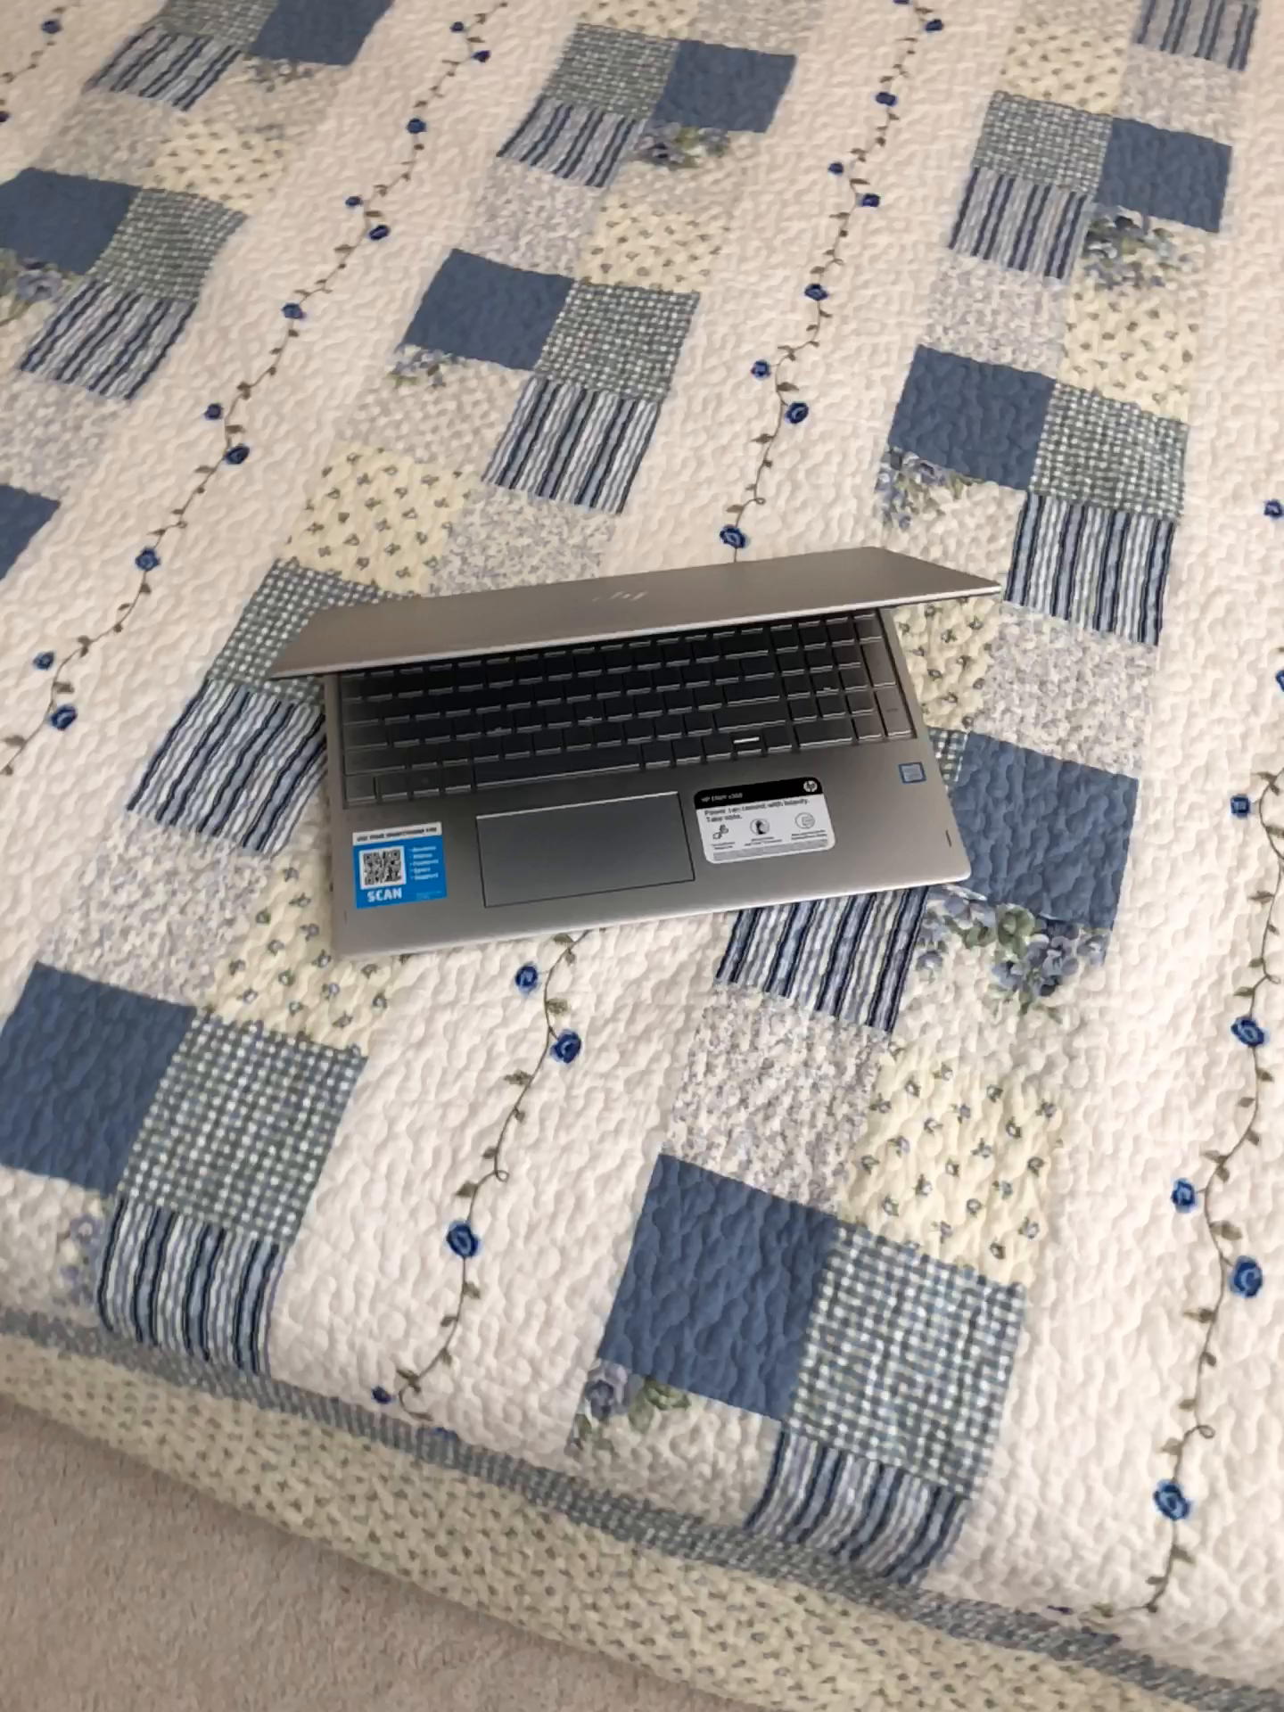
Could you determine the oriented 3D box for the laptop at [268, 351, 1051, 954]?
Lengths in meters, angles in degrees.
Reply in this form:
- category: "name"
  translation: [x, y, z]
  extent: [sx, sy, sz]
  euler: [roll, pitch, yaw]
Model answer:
- category: "laptop"
  translation: [-0.006, -0.111, 0.761]
  extent: [0.348, 0.158, 0.242]
  euler: [-8, 59, -4]
